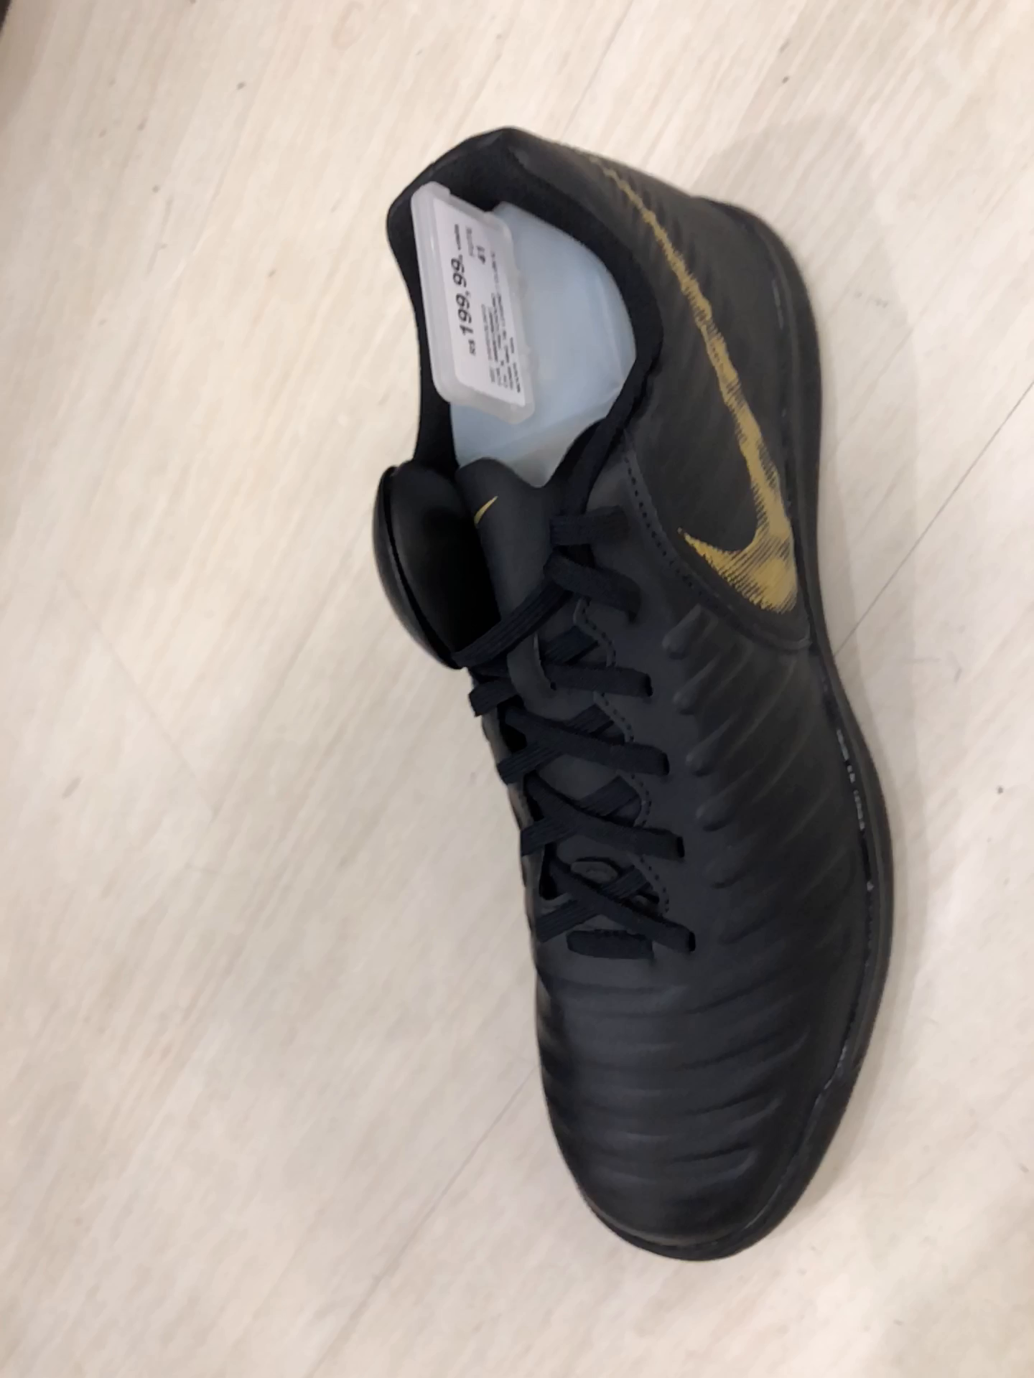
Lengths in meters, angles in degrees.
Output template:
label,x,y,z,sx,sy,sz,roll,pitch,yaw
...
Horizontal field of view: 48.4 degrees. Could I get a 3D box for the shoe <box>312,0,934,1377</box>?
label,x,y,z,sx,sy,sz,roll,pitch,yaw
shoe,0.024,0.003,0.289,0.100,0.109,0.290,-7,82,42
